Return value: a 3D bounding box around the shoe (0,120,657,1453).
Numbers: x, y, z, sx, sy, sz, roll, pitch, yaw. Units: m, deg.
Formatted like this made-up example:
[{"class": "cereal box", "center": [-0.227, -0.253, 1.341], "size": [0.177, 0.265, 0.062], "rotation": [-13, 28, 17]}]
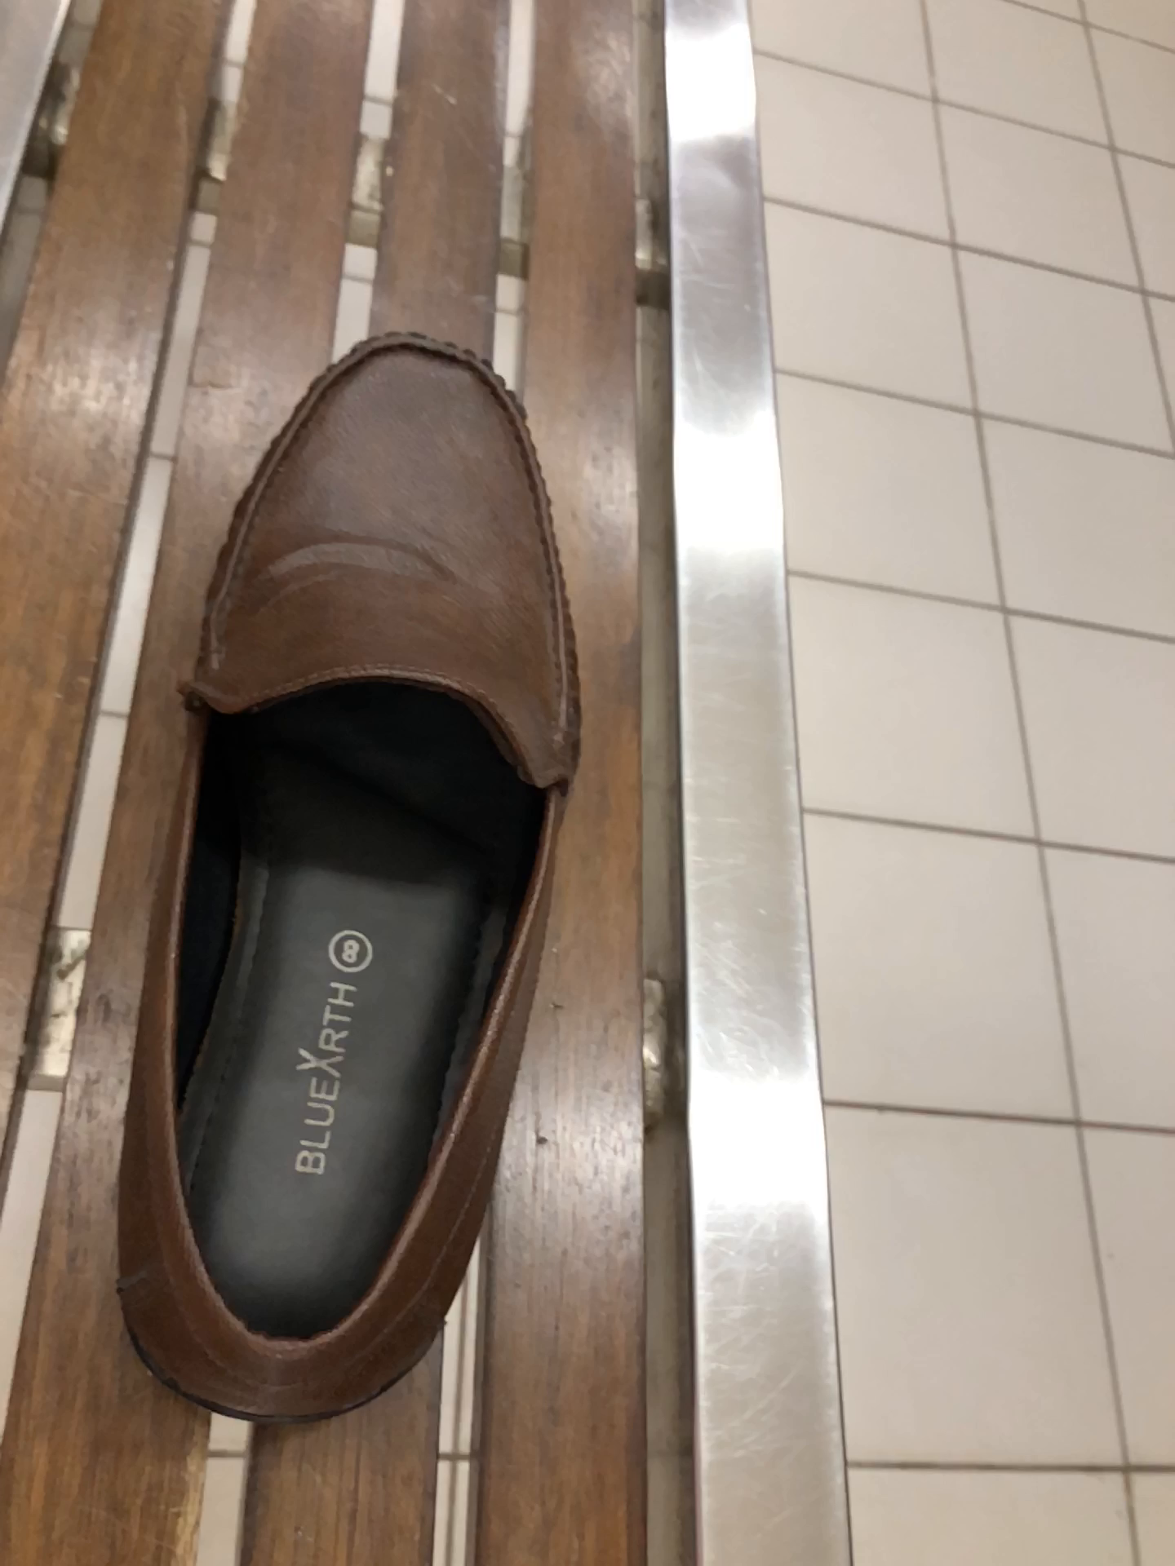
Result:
[{"class": "shoe", "center": [-0.050, -0.008, 0.323], "size": [0.104, 0.093, 0.302], "rotation": [9, 63, -12]}]
